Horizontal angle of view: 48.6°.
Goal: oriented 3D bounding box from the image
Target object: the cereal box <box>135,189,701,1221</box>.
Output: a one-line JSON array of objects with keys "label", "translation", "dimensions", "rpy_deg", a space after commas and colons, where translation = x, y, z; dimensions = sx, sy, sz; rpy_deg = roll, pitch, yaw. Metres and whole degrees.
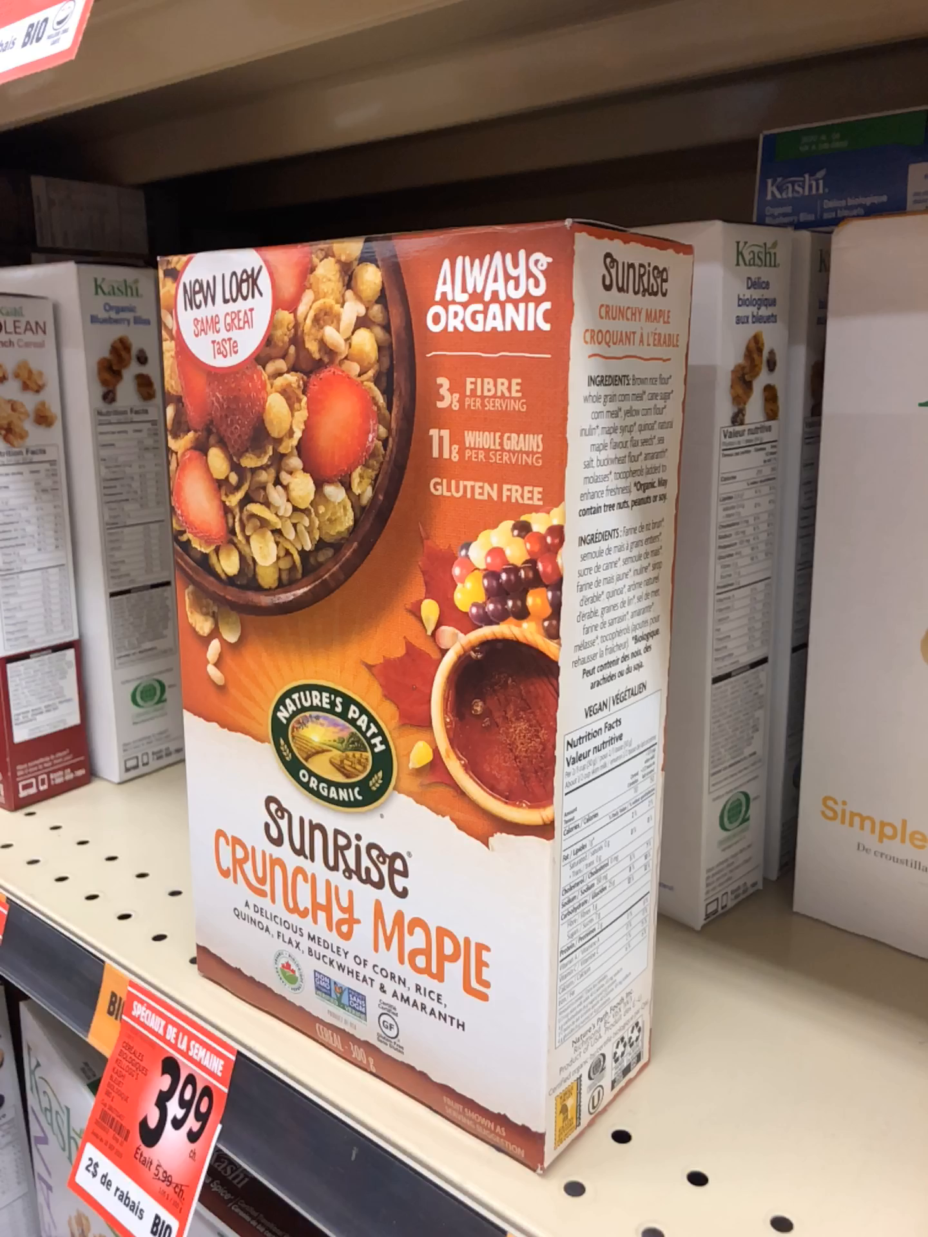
[{"label": "cereal box", "translation": [-0.022, 0.018, 0.332], "dimensions": [0.170, 0.269, 0.060], "rpy_deg": [11, 17, 39]}]
